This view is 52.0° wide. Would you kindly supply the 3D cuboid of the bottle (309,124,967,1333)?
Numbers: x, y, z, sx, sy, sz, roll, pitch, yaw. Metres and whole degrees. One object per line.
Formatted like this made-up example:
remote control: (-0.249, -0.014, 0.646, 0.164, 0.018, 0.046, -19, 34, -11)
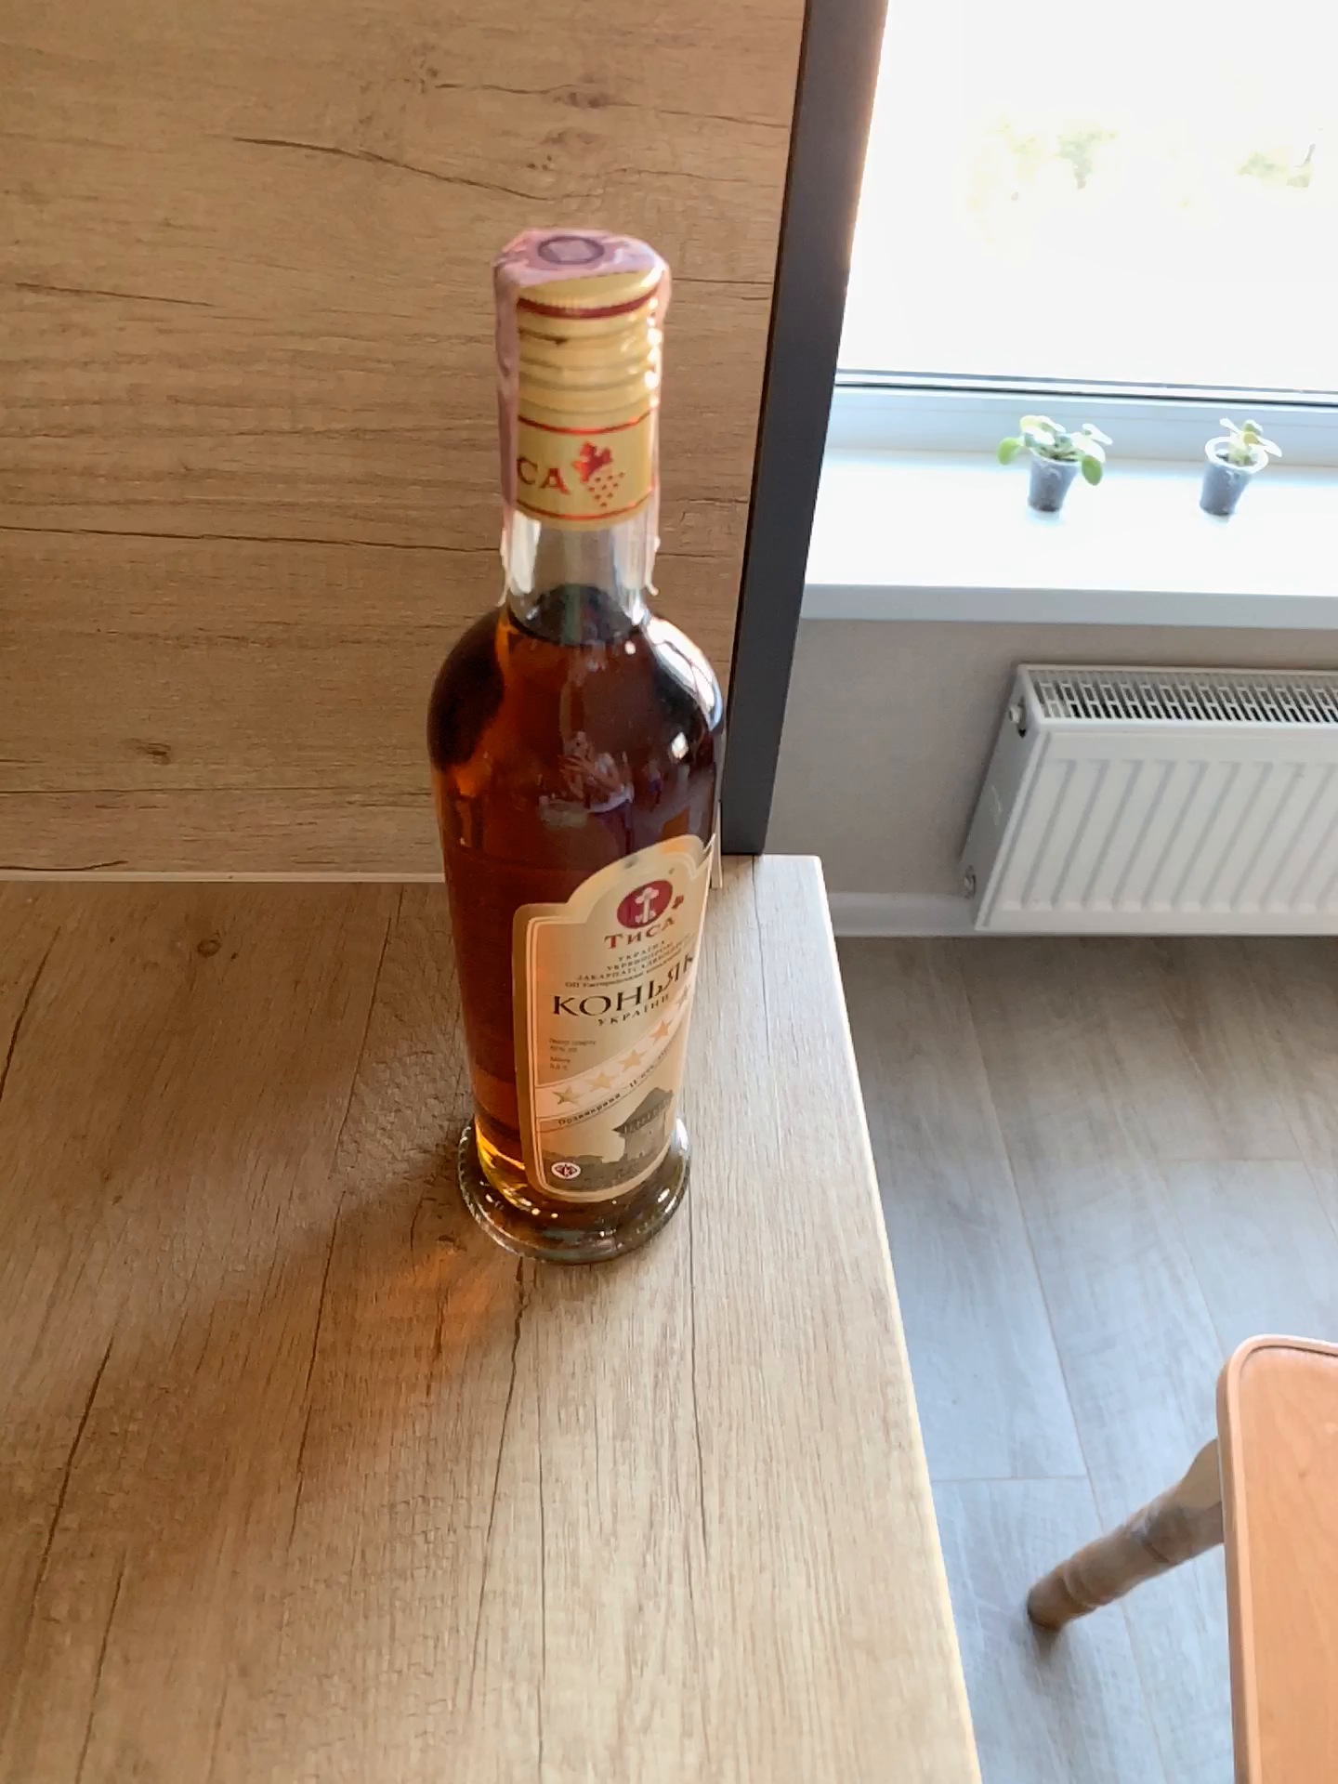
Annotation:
bottle: (-0.014, -0.009, 0.317, 0.080, 0.279, 0.070, -20, 51, -22)
